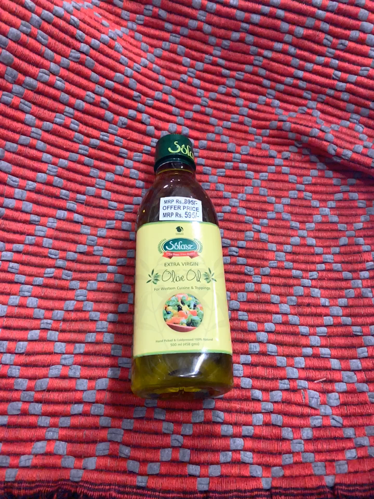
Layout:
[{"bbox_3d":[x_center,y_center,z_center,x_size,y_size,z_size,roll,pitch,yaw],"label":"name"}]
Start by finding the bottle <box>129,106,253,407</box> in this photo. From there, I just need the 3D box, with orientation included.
[{"bbox_3d":[-0.004,-0.004,0.269,0.060,0.070,0.200,0,58,-4],"label":"bottle"}]
